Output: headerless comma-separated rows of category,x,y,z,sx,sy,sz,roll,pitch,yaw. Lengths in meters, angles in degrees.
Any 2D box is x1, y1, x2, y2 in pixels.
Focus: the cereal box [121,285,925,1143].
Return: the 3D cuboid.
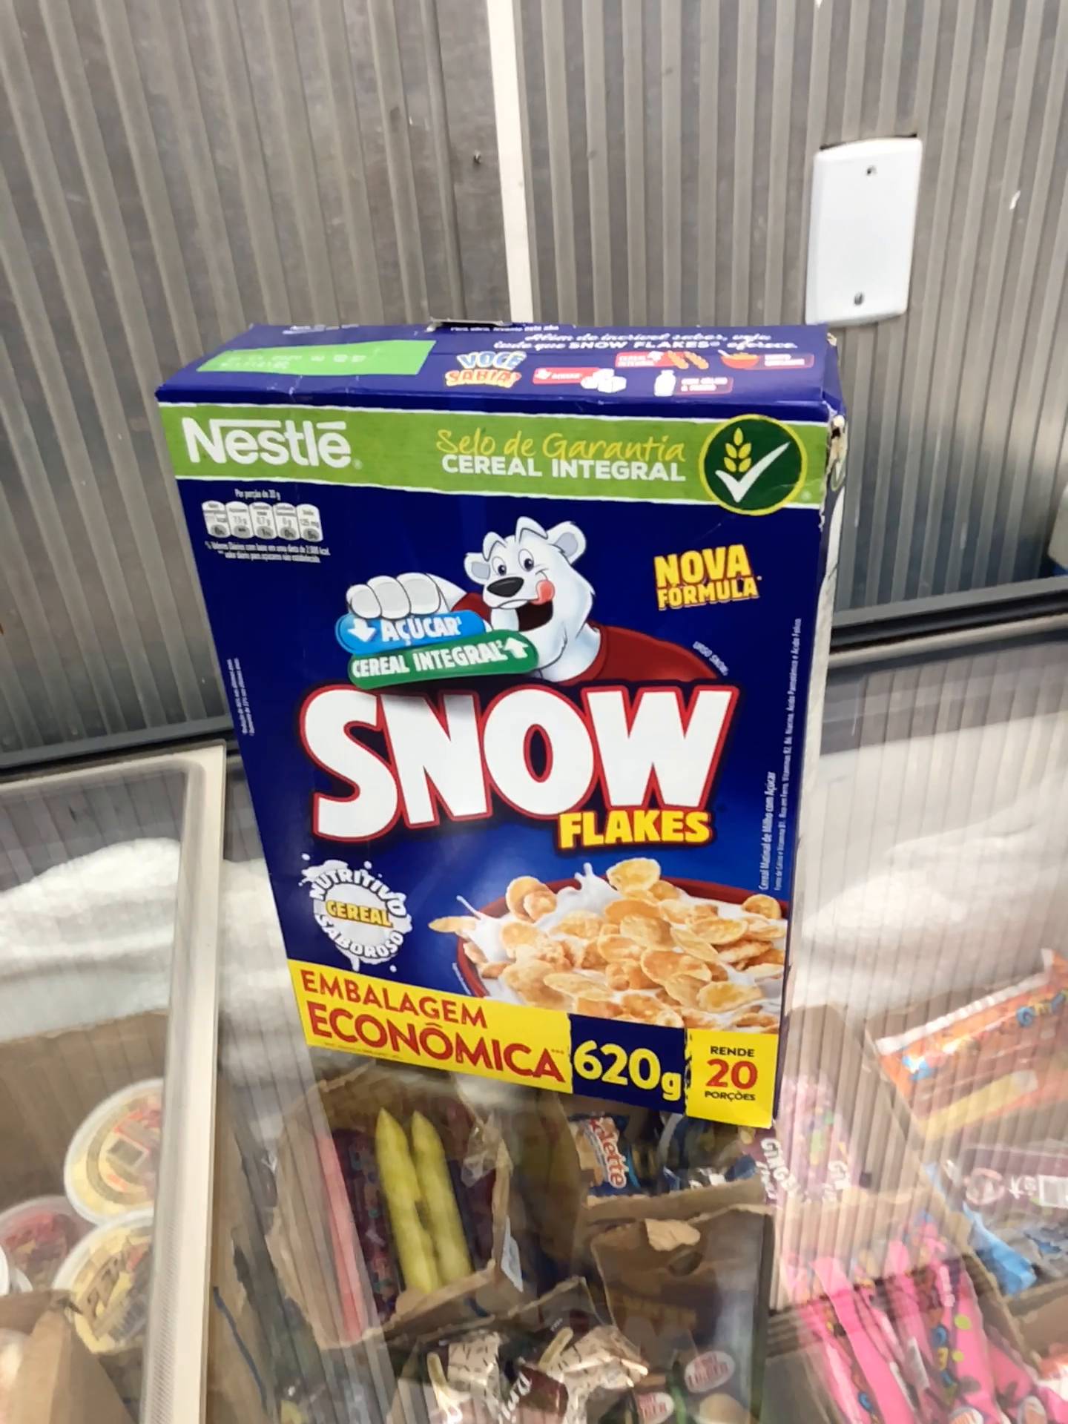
cereal box,0.006,0.011,0.437,0.230,0.308,0.070,7,36,16
